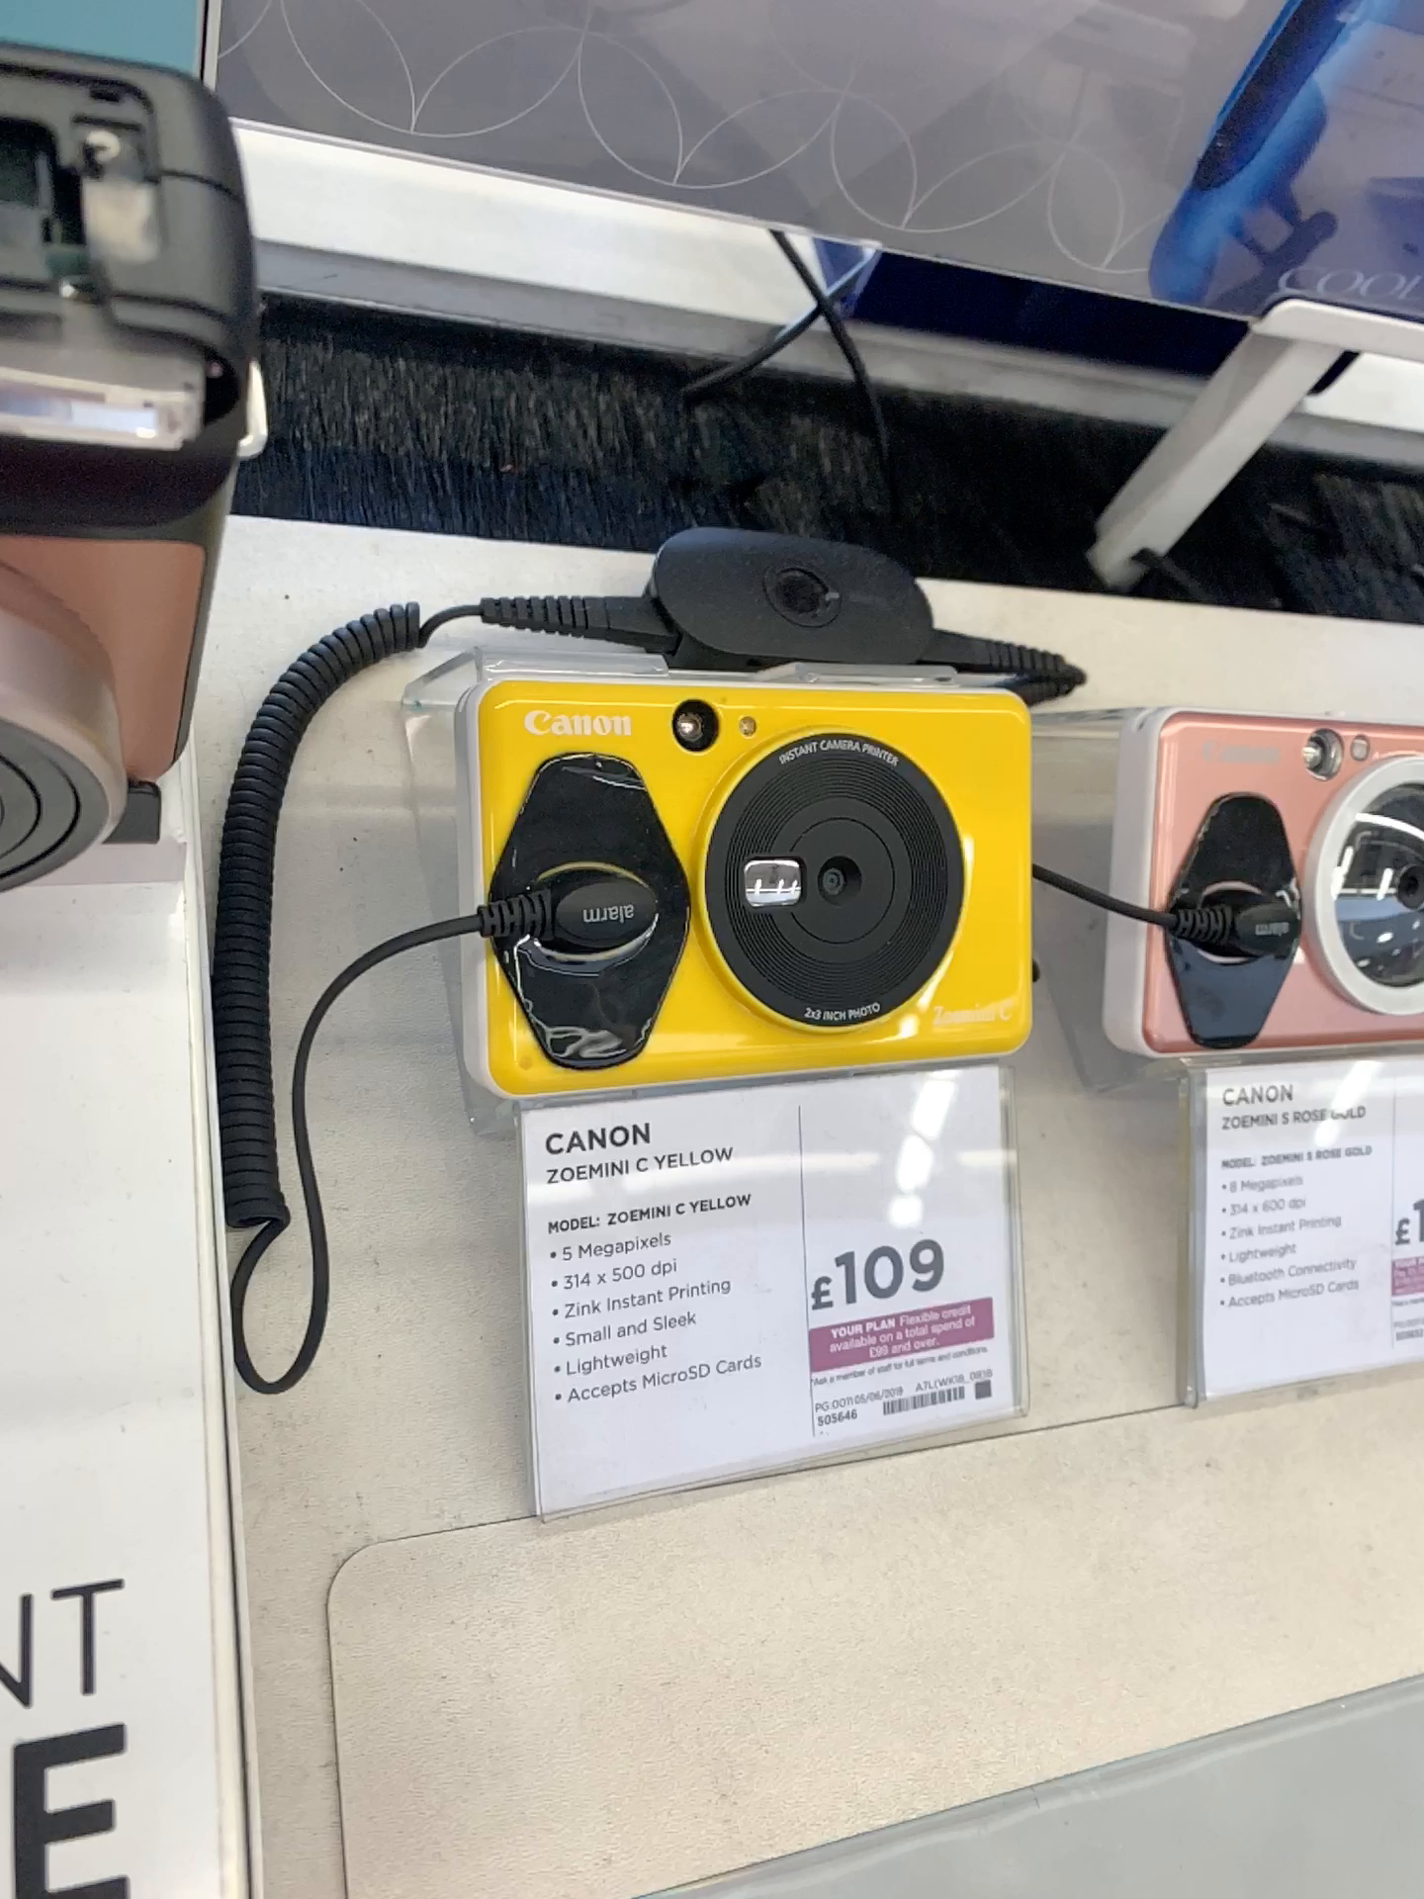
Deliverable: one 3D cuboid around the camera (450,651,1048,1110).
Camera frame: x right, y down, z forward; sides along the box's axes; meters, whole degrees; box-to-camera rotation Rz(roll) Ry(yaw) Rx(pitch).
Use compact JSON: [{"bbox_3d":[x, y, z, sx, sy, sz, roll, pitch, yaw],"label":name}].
[{"bbox_3d":[0.011,-0.015,0.291,0.120,0.020,0.080,-3,95,-24],"label":"camera"}]
